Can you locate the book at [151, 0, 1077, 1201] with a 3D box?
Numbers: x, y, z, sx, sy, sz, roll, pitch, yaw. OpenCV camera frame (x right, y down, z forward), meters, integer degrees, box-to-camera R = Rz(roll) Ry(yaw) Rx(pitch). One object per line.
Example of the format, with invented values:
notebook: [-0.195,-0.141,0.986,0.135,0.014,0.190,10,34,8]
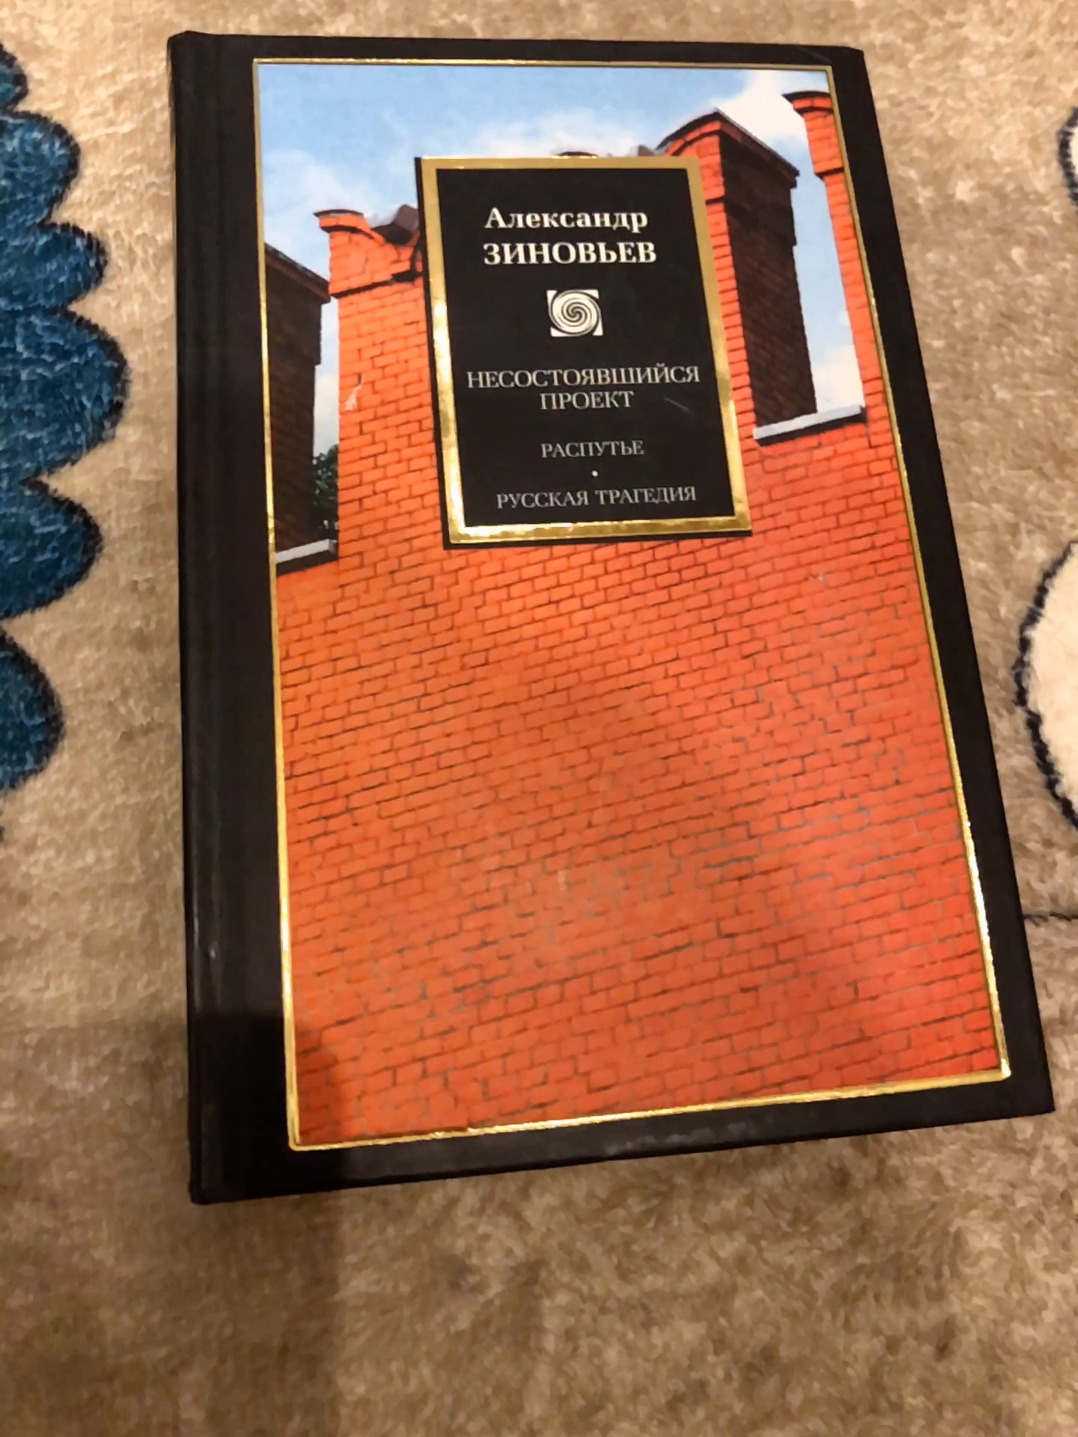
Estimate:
book: [0.009,-0.035,0.214,0.140,0.040,0.210,-2,75,-7]
